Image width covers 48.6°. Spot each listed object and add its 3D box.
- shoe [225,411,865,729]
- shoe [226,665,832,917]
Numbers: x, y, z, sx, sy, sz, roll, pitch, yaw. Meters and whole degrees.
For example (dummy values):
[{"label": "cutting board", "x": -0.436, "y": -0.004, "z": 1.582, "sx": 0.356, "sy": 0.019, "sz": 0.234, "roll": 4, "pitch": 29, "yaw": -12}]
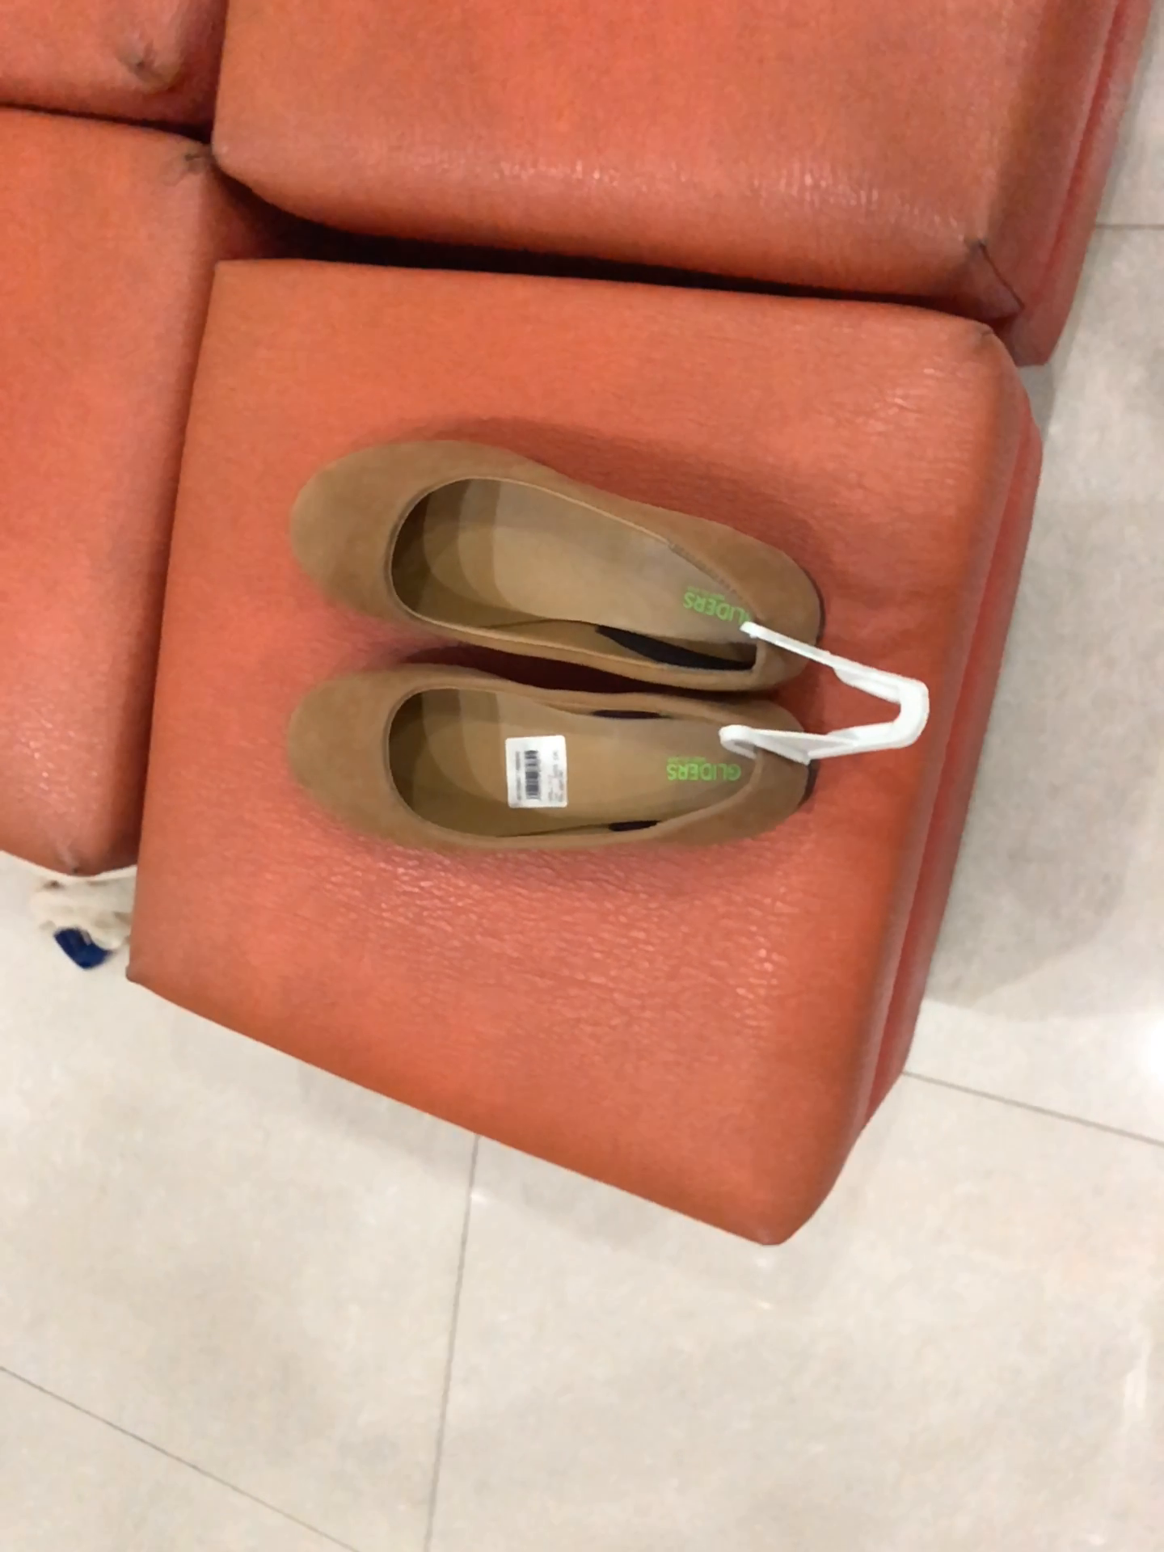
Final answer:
[{"label": "shoe", "x": -0.026, "y": -0.100, "z": 0.602, "sx": 0.287, "sy": 0.071, "sz": 0.097, "roll": 14, "pitch": 100, "yaw": 24}, {"label": "shoe", "x": -0.032, "y": -0.001, "z": 0.616, "sx": 0.287, "sy": 0.070, "sz": 0.094, "roll": 4, "pitch": 98, "yaw": 25}]
